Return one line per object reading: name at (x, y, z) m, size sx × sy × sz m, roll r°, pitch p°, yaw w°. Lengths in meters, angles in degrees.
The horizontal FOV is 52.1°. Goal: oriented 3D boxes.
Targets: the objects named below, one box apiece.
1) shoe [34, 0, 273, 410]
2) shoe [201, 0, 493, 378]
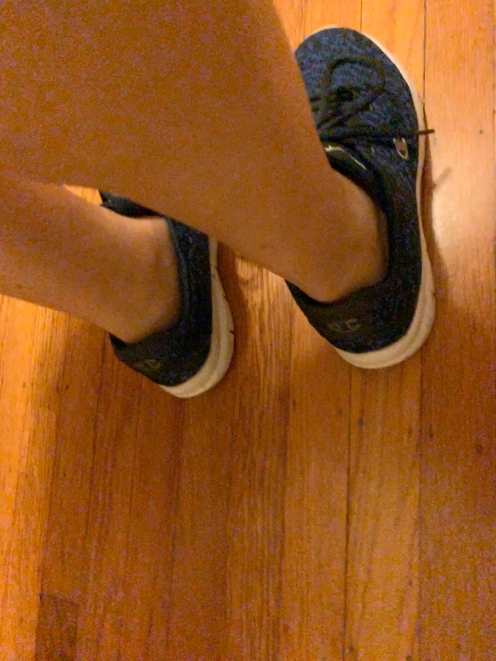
shoe at (-0.078, -0.086, 0.430) m, size 0.116 × 0.149 × 0.290 m, roll -12°, pitch 76°, yaw 25°
shoe at (0.068, -0.120, 0.350) m, size 0.118 × 0.129 × 0.280 m, roll -15°, pitch 75°, yaw 25°
